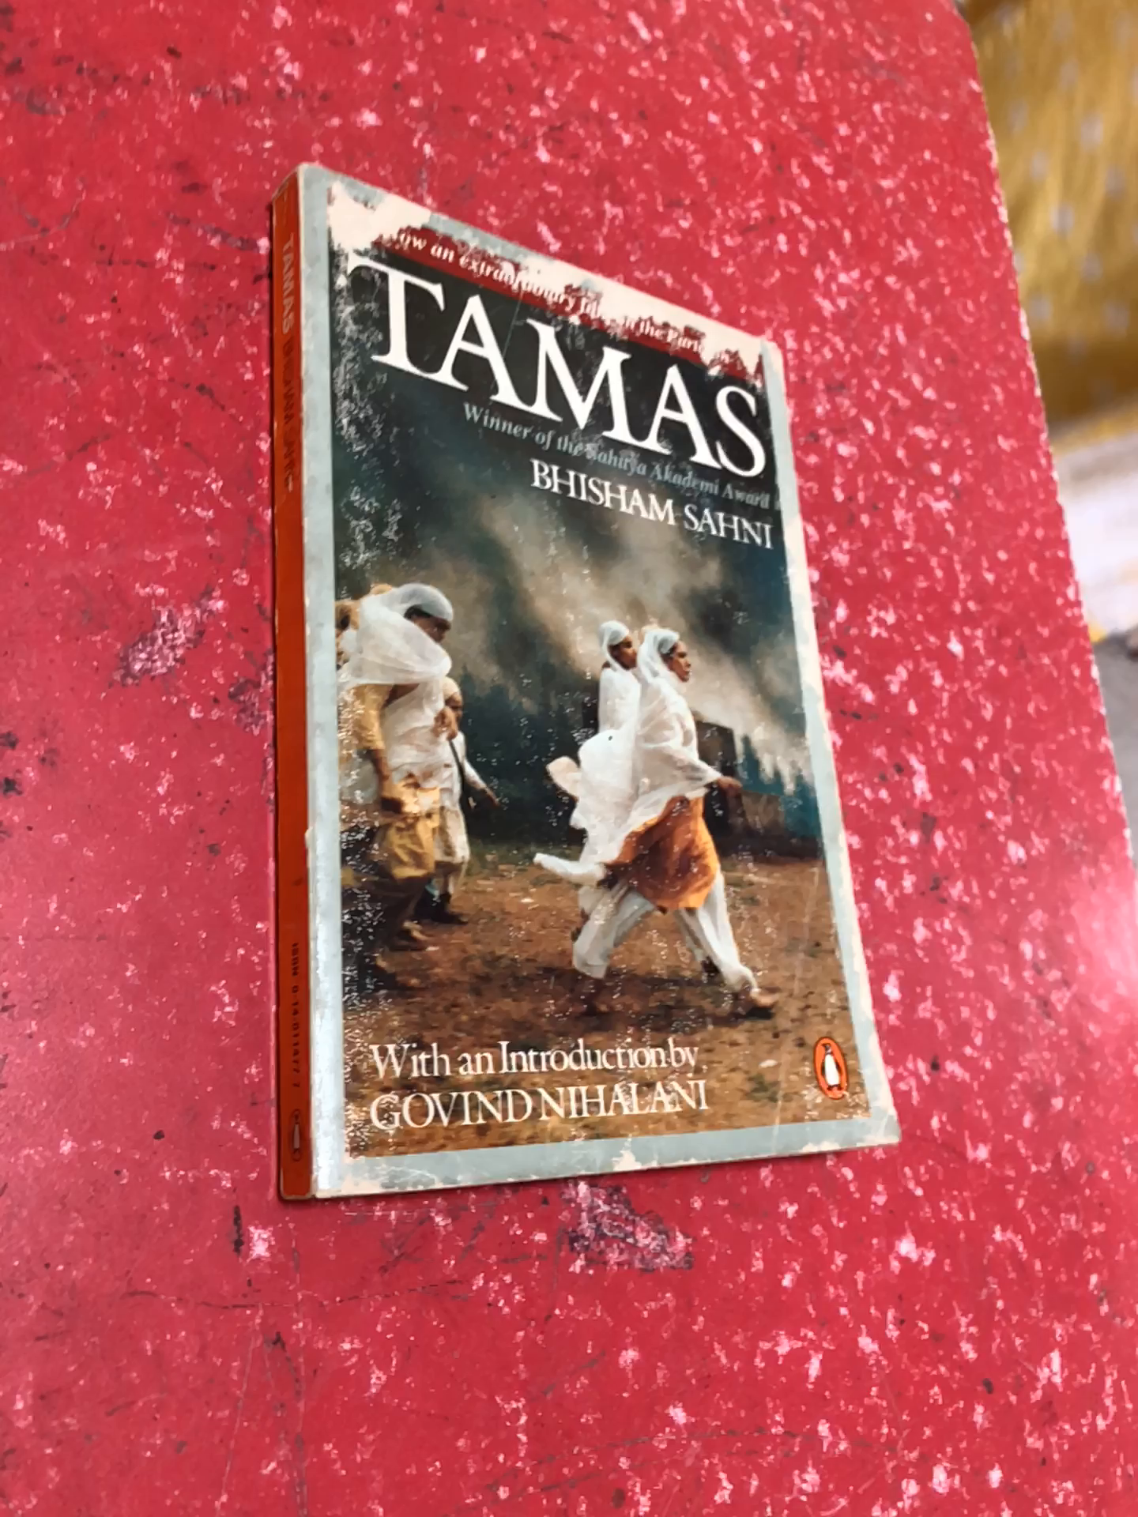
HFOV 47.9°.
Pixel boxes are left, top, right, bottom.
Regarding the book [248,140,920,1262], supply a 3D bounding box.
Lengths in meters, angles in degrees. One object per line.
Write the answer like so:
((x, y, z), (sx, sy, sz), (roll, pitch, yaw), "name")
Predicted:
((0.003, -0.013, 0.258), (0.130, 0.020, 0.200), (7, 69, -34), "book")
